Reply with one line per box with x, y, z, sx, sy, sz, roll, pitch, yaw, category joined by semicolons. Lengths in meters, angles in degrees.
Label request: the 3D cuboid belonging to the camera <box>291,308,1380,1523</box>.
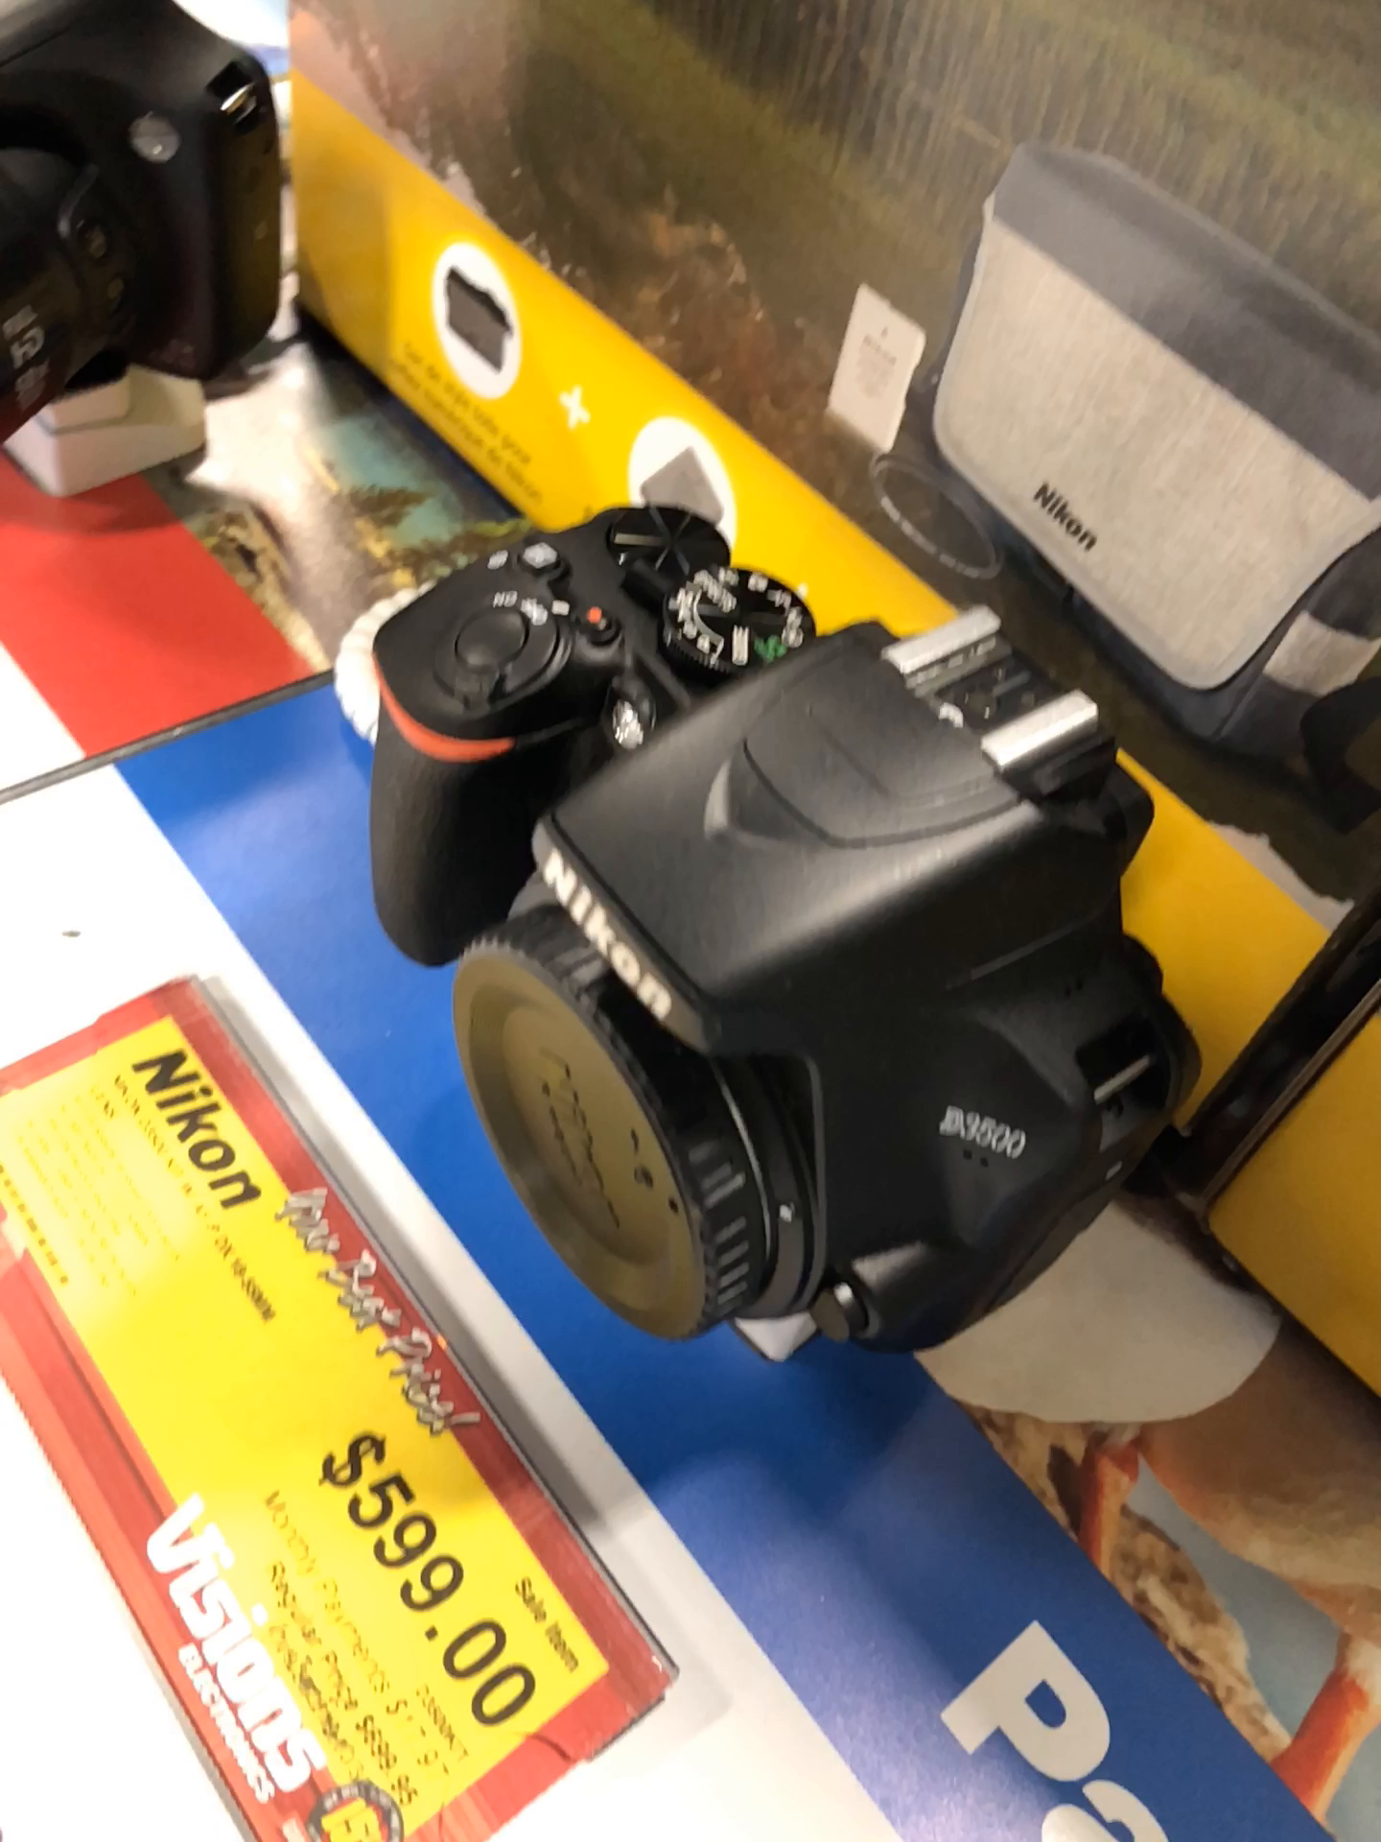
0.009;-0.004;0.221;0.080;0.099;0.120;-25;61;-29;camera
